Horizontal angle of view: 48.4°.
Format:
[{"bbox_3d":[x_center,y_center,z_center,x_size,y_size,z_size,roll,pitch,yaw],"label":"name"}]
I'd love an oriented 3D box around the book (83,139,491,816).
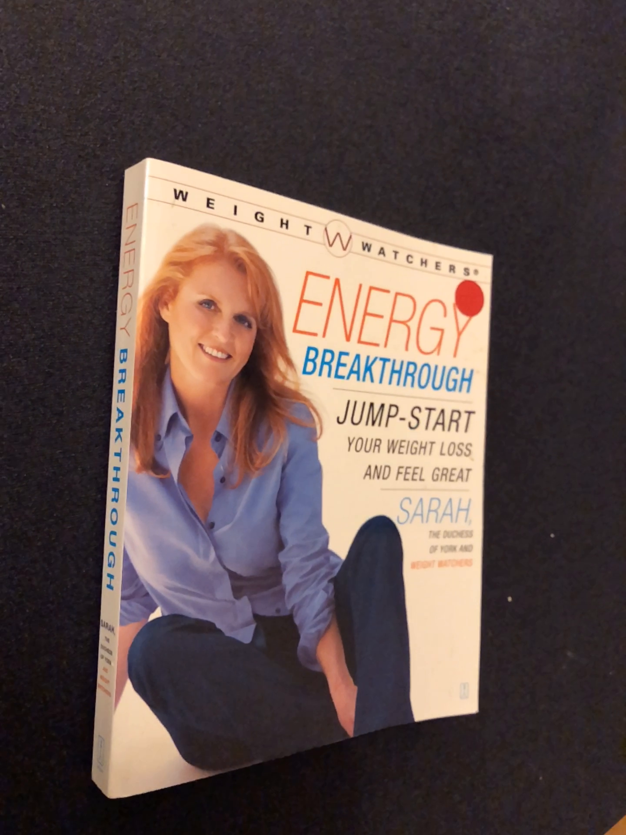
[{"bbox_3d":[0.003,0.024,0.309,0.186,0.030,0.234,5,86,-36],"label":"book"}]
